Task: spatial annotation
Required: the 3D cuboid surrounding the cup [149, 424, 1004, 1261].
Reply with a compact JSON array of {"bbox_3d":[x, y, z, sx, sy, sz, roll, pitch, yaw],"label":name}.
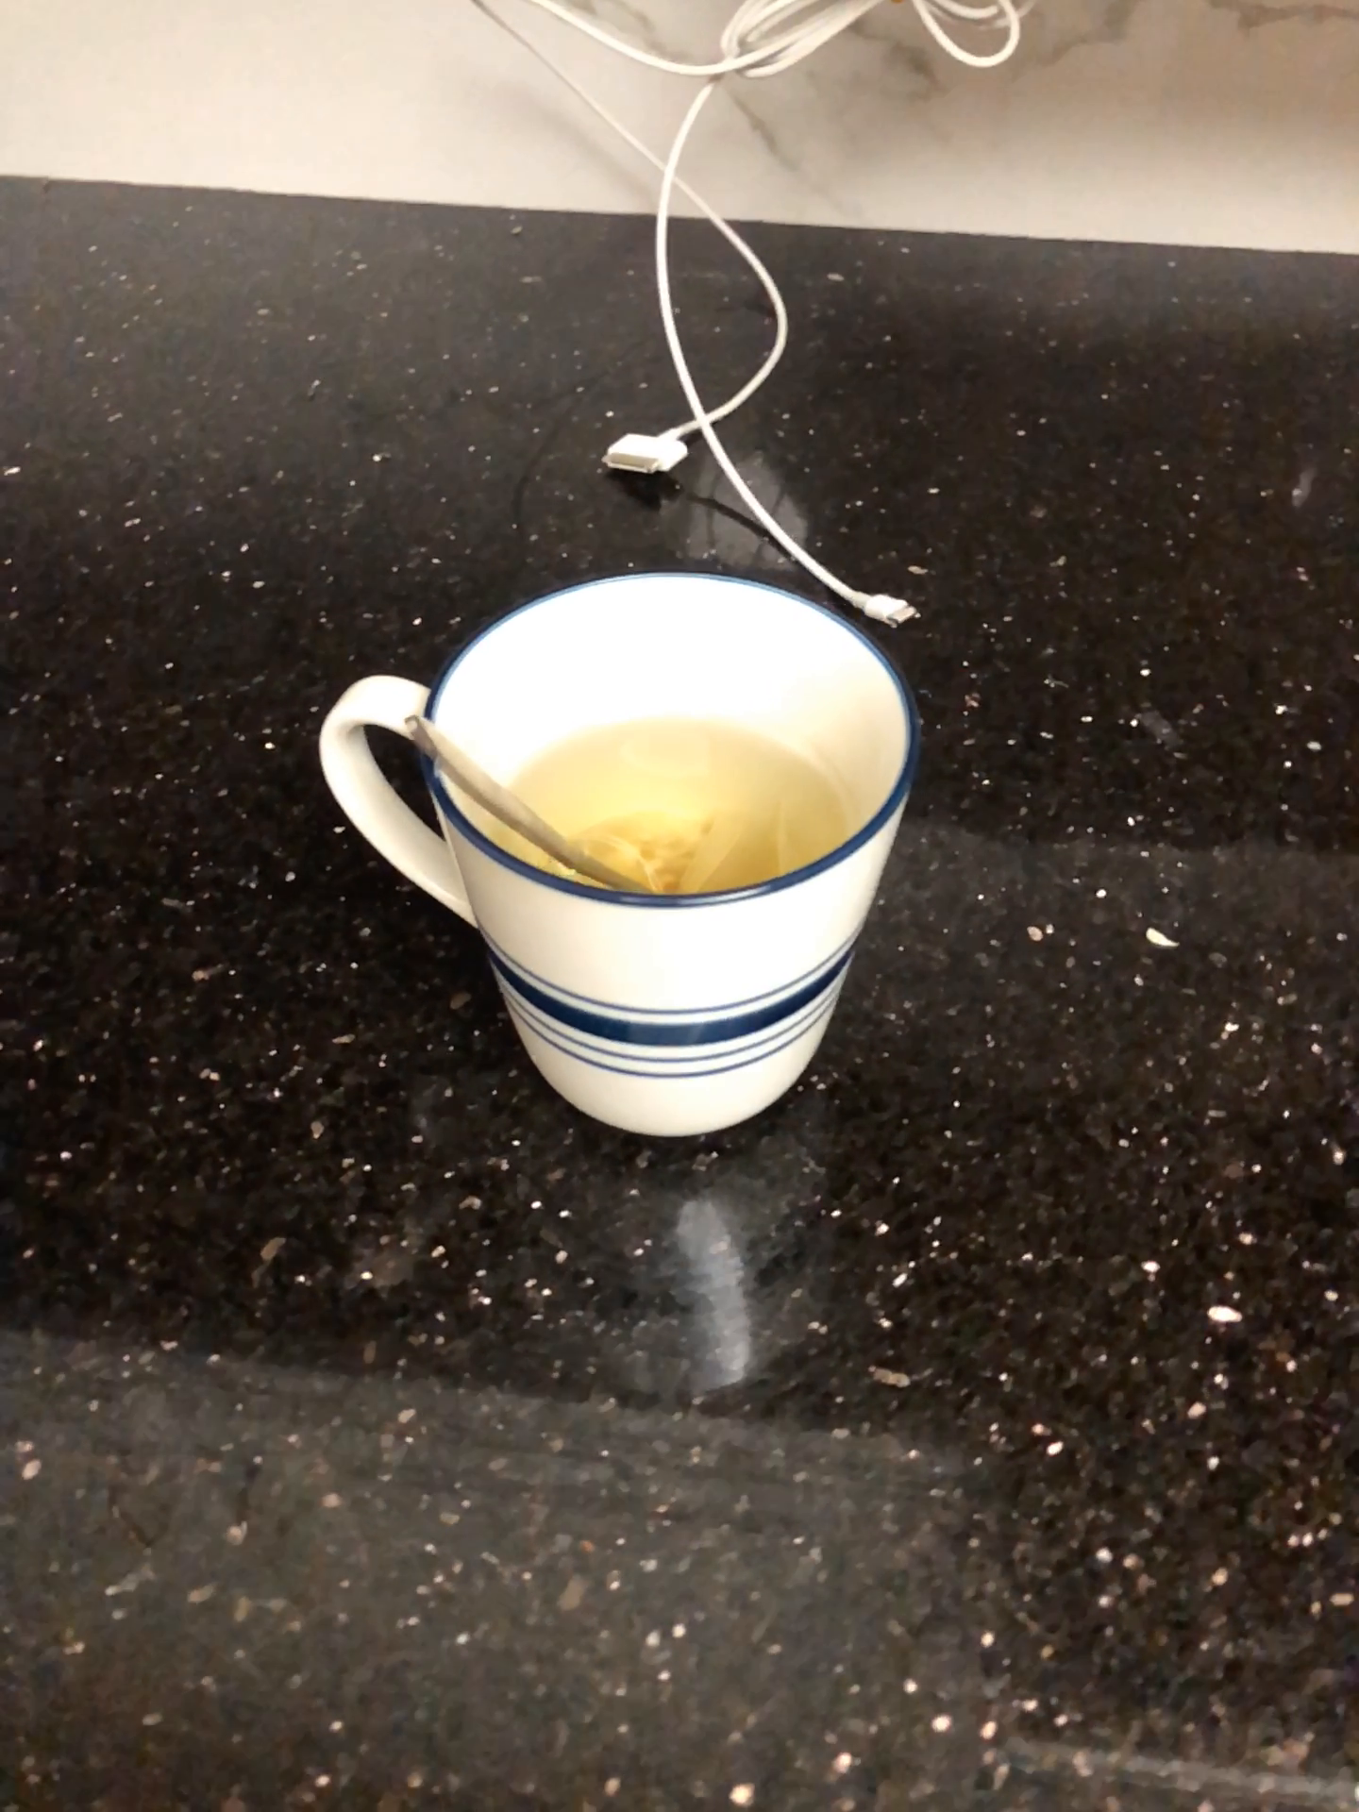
[{"bbox_3d":[-0.015,-0.014,0.299,0.120,0.100,0.090,21,53,17],"label":"cup"}]
